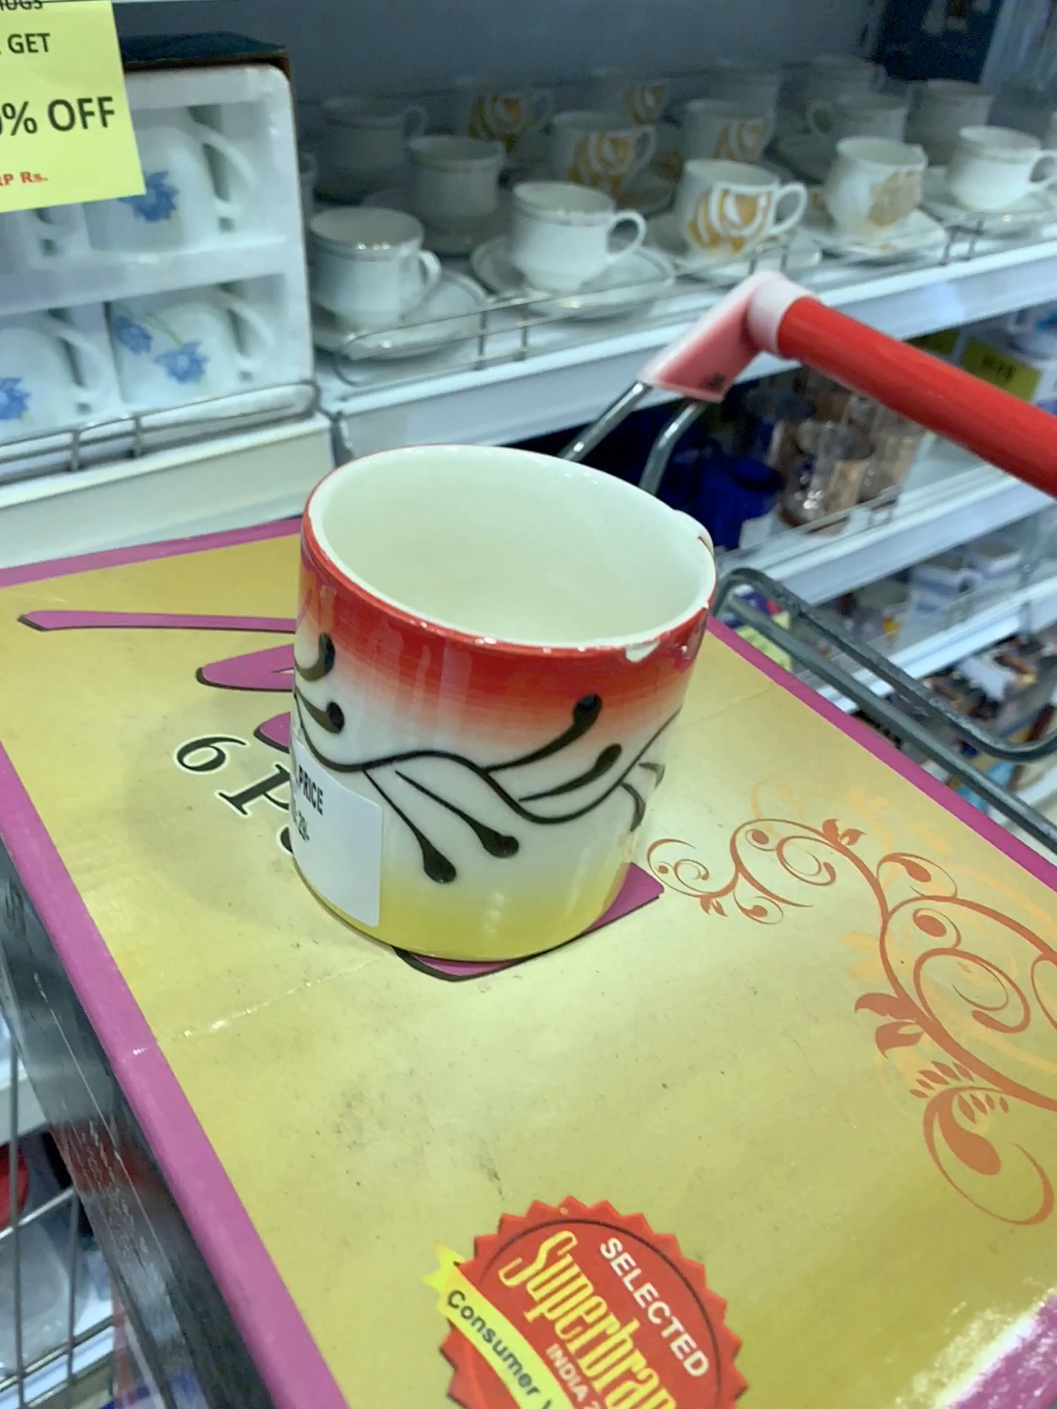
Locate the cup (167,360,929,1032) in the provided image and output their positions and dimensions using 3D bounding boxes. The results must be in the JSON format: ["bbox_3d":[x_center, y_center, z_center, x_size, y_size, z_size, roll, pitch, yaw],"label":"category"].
[{"bbox_3d":[0.002,-0.013,0.212,0.110,0.070,0.080,-22,46,-38],"label":"cup"}]
